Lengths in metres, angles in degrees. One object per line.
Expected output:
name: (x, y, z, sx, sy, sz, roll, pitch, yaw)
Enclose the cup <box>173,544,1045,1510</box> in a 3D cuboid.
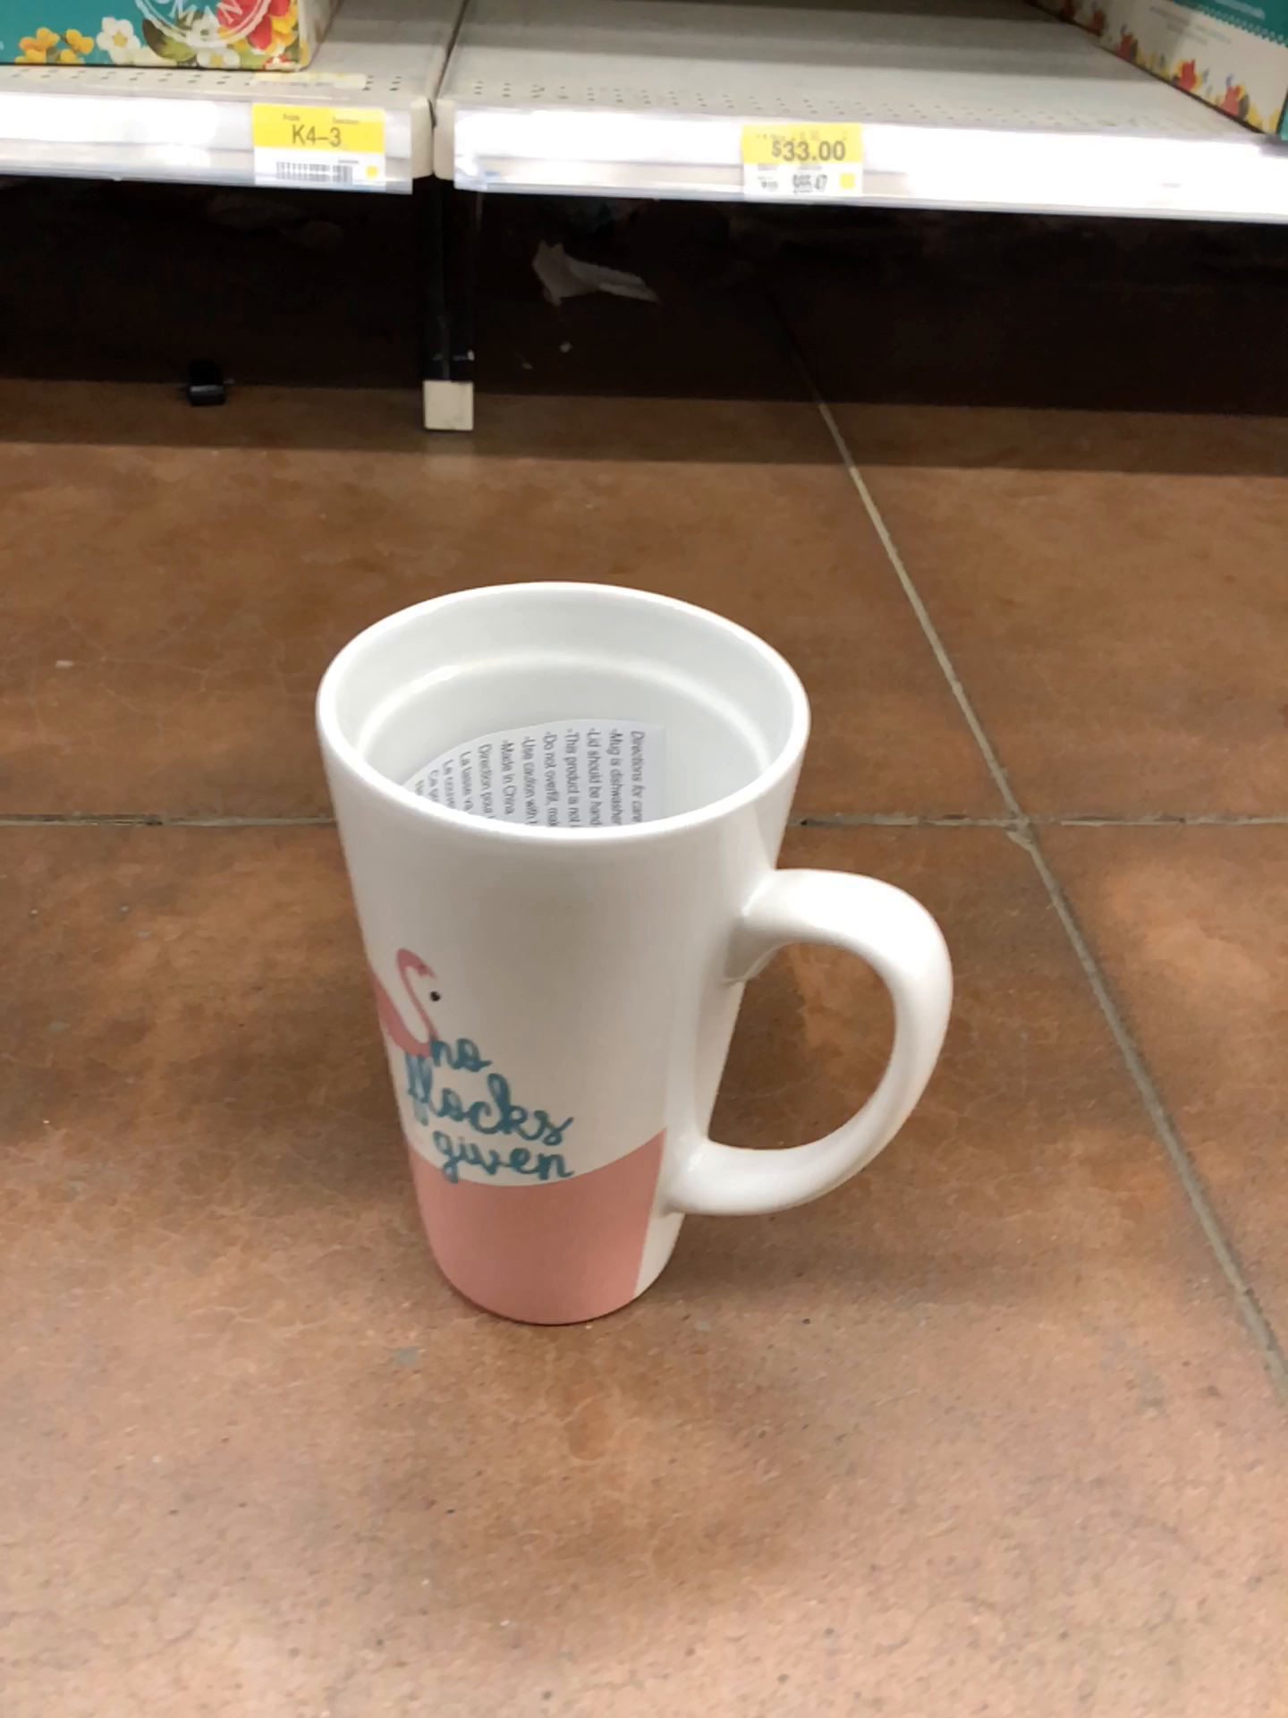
cup: (-0.004, 0.030, 0.304, 0.130, 0.139, 0.100, 17, 38, 18)
